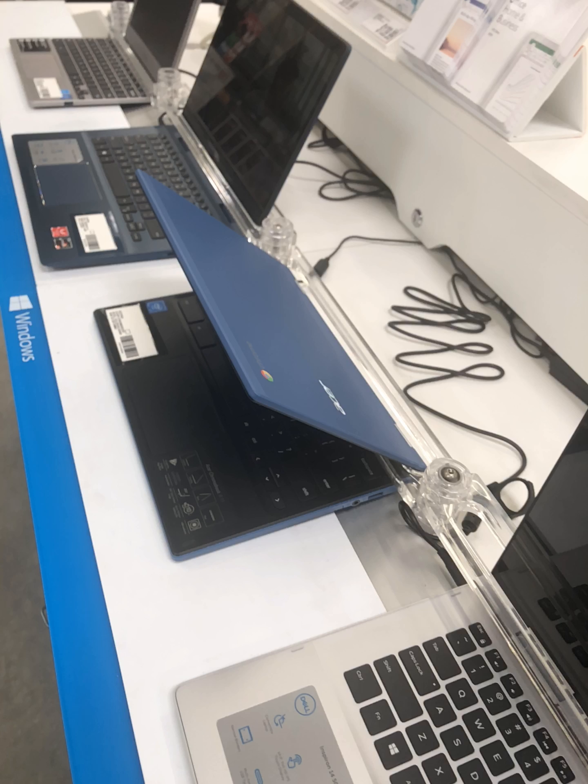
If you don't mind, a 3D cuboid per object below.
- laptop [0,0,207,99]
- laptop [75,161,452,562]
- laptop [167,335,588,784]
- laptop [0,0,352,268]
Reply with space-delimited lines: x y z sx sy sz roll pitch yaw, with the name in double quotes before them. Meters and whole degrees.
"laptop" -0.310 -0.617 1.042 0.258 0.172 0.306 -10 46 -17
"laptop" -0.045 -0.047 0.514 0.186 0.128 0.281 -13 48 -19
"laptop" 0.098 0.172 0.242 0.221 0.211 0.297 -12 47 -17
"laptop" -0.158 -0.341 0.754 0.319 0.196 0.326 -13 47 -19
